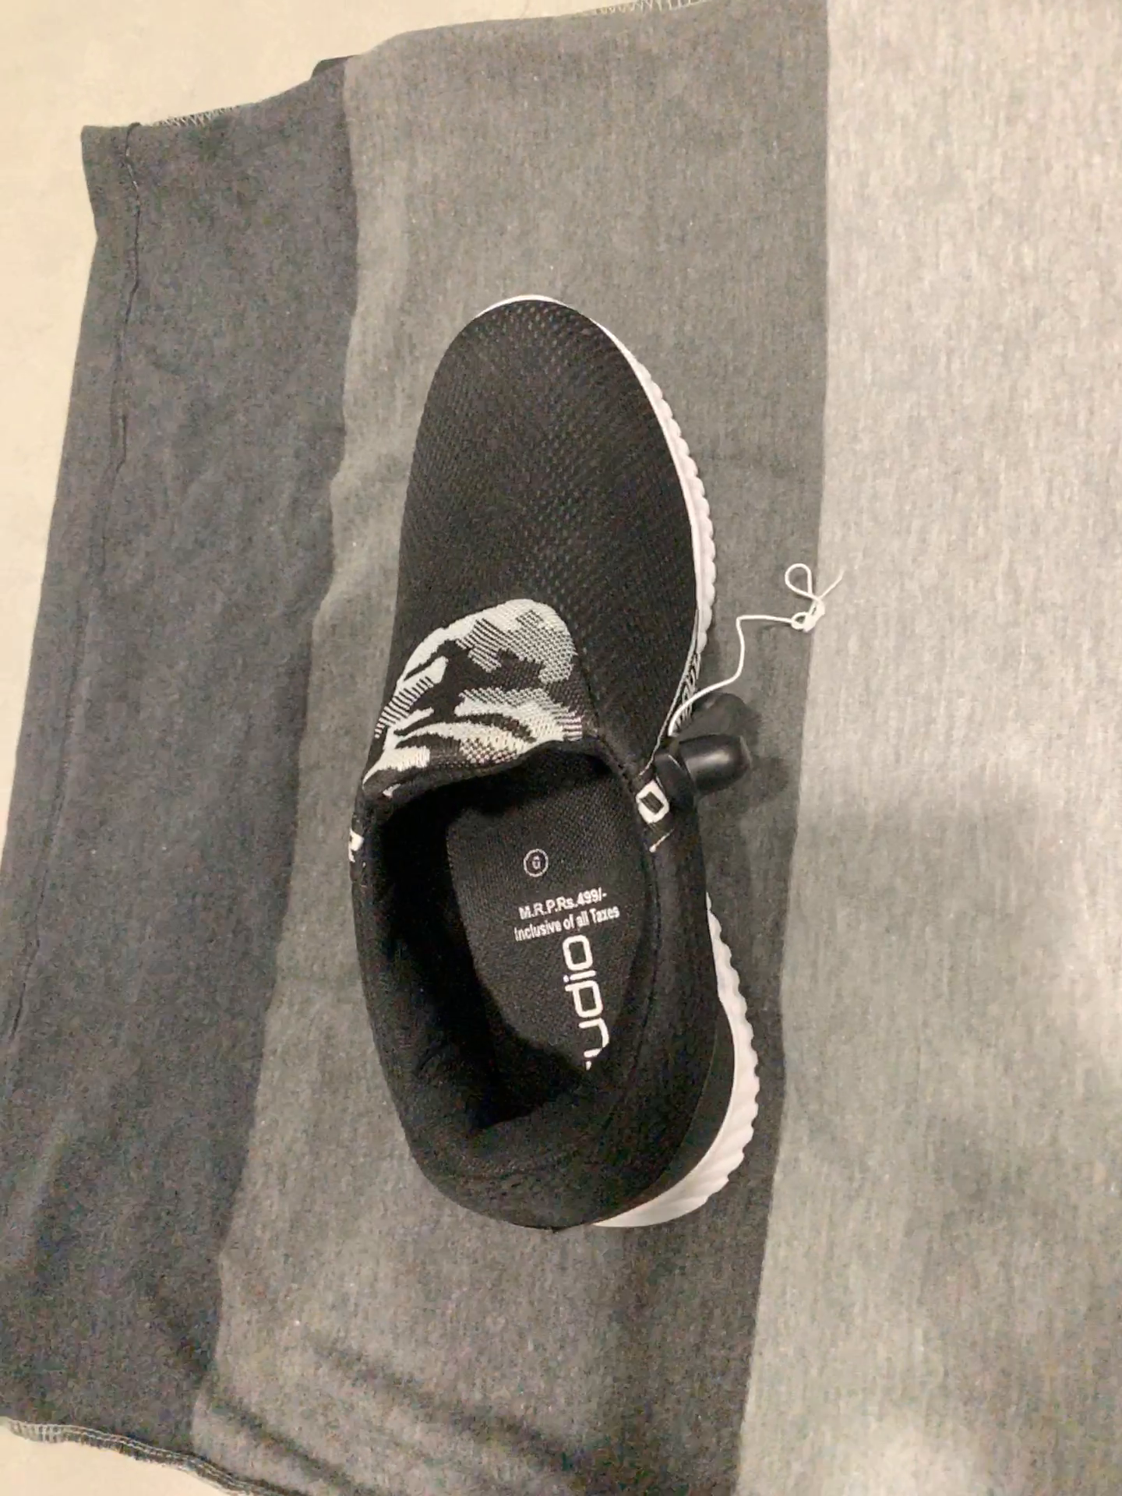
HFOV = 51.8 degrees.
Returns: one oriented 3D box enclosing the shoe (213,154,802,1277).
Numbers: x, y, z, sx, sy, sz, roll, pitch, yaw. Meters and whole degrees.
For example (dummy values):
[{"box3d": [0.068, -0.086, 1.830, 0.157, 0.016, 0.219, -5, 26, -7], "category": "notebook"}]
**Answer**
[{"box3d": [-0.014, -0.003, 0.302, 0.100, 0.100, 0.240, -11, 77, 21], "category": "shoe"}]
